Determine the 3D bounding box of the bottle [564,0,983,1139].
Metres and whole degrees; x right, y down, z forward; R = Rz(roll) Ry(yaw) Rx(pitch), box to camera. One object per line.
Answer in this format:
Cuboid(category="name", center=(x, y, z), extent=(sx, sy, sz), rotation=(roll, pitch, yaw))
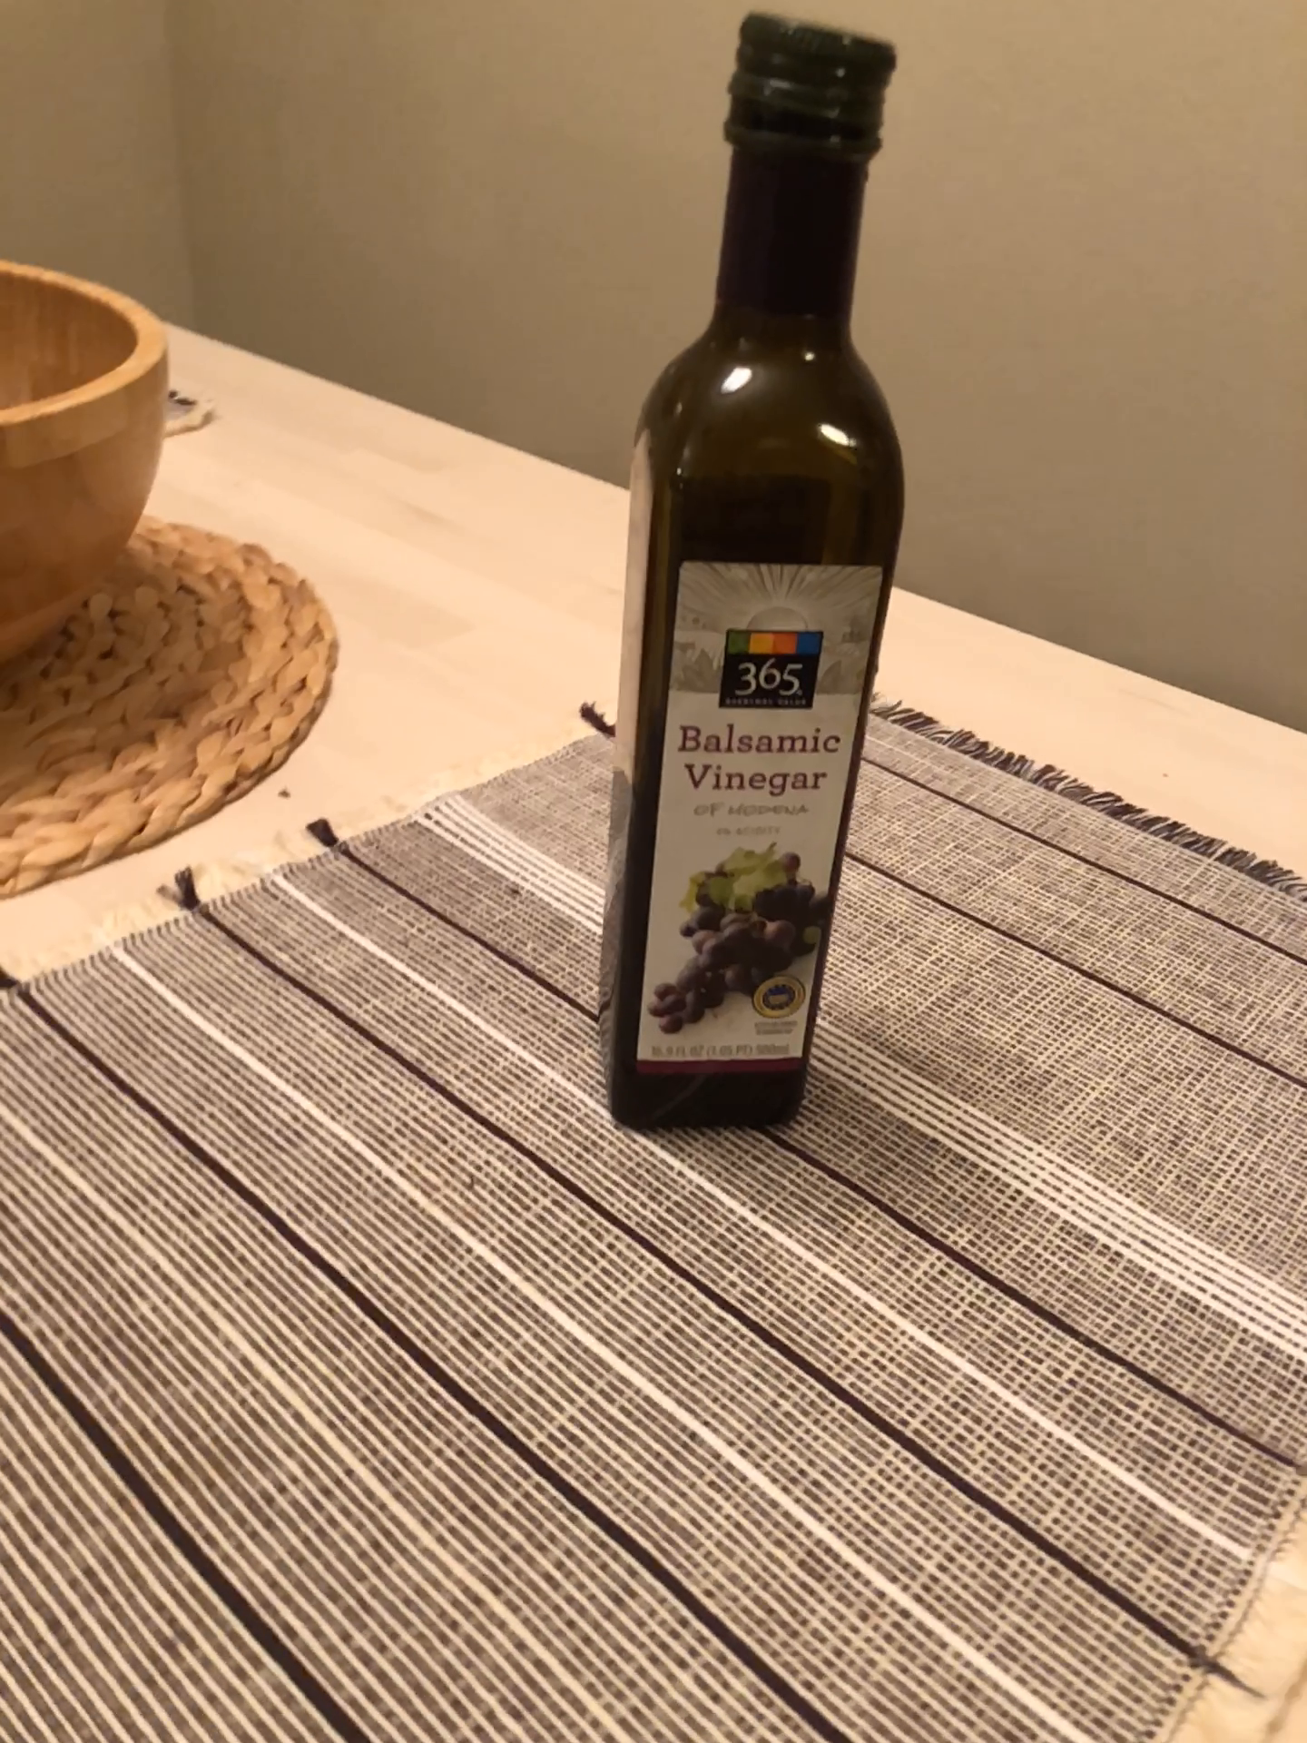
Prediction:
Cuboid(category="bottle", center=(0.016, -0.055, 0.345), extent=(0.060, 0.261, 0.060), rotation=(4, 32, -2))
